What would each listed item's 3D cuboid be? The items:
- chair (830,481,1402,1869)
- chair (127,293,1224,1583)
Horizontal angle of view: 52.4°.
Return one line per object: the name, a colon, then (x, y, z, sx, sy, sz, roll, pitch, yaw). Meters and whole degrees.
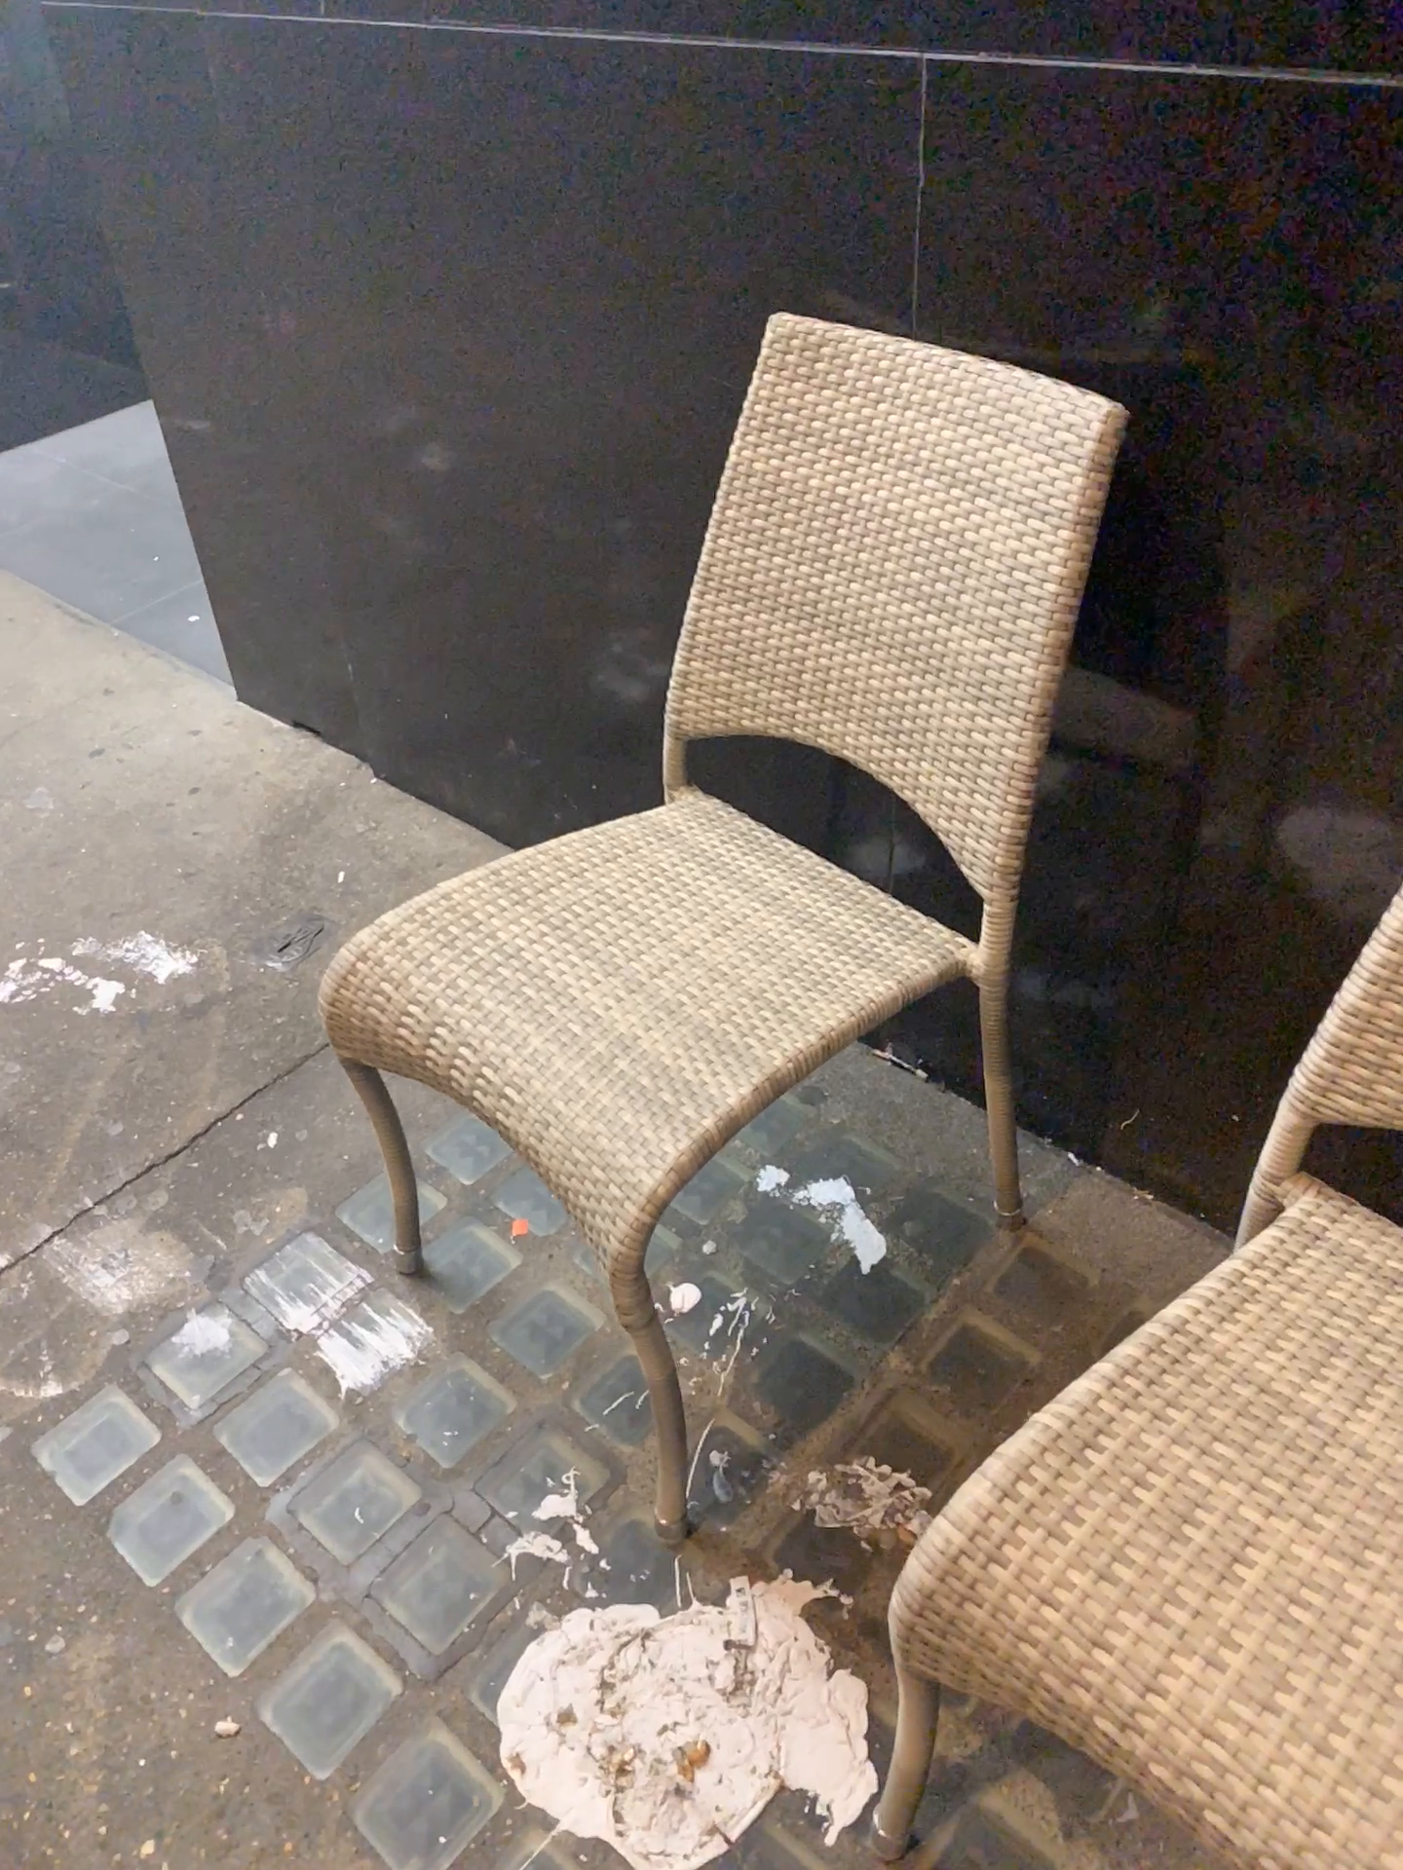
chair: (0.536, 0.309, 0.821, 0.602, 0.901, 0.584, -23, 41, -35)
chair: (0.009, -0.019, 1.260, 0.613, 0.831, 0.483, -31, 45, -31)
